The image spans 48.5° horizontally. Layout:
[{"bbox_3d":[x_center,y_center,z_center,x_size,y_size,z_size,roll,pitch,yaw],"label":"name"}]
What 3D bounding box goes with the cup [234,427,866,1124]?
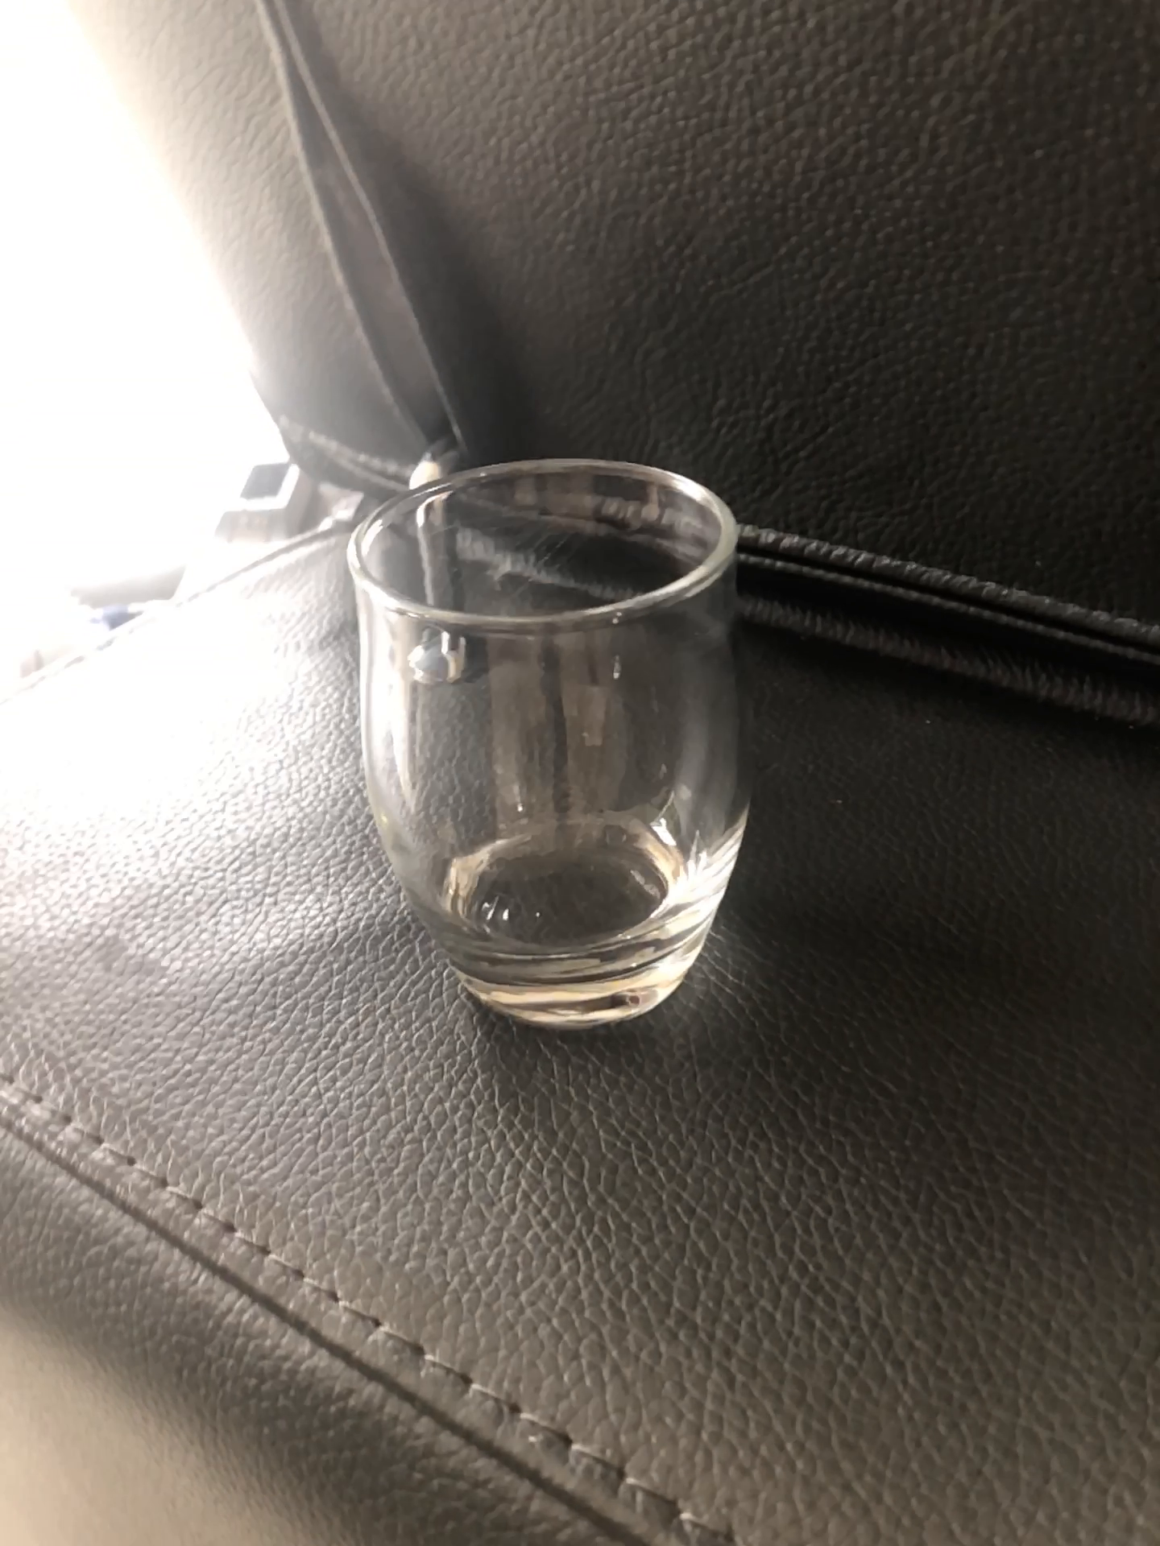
[{"bbox_3d":[-0.003,-0.006,0.255,0.080,0.089,0.080,-2,34,2],"label":"cup"}]
